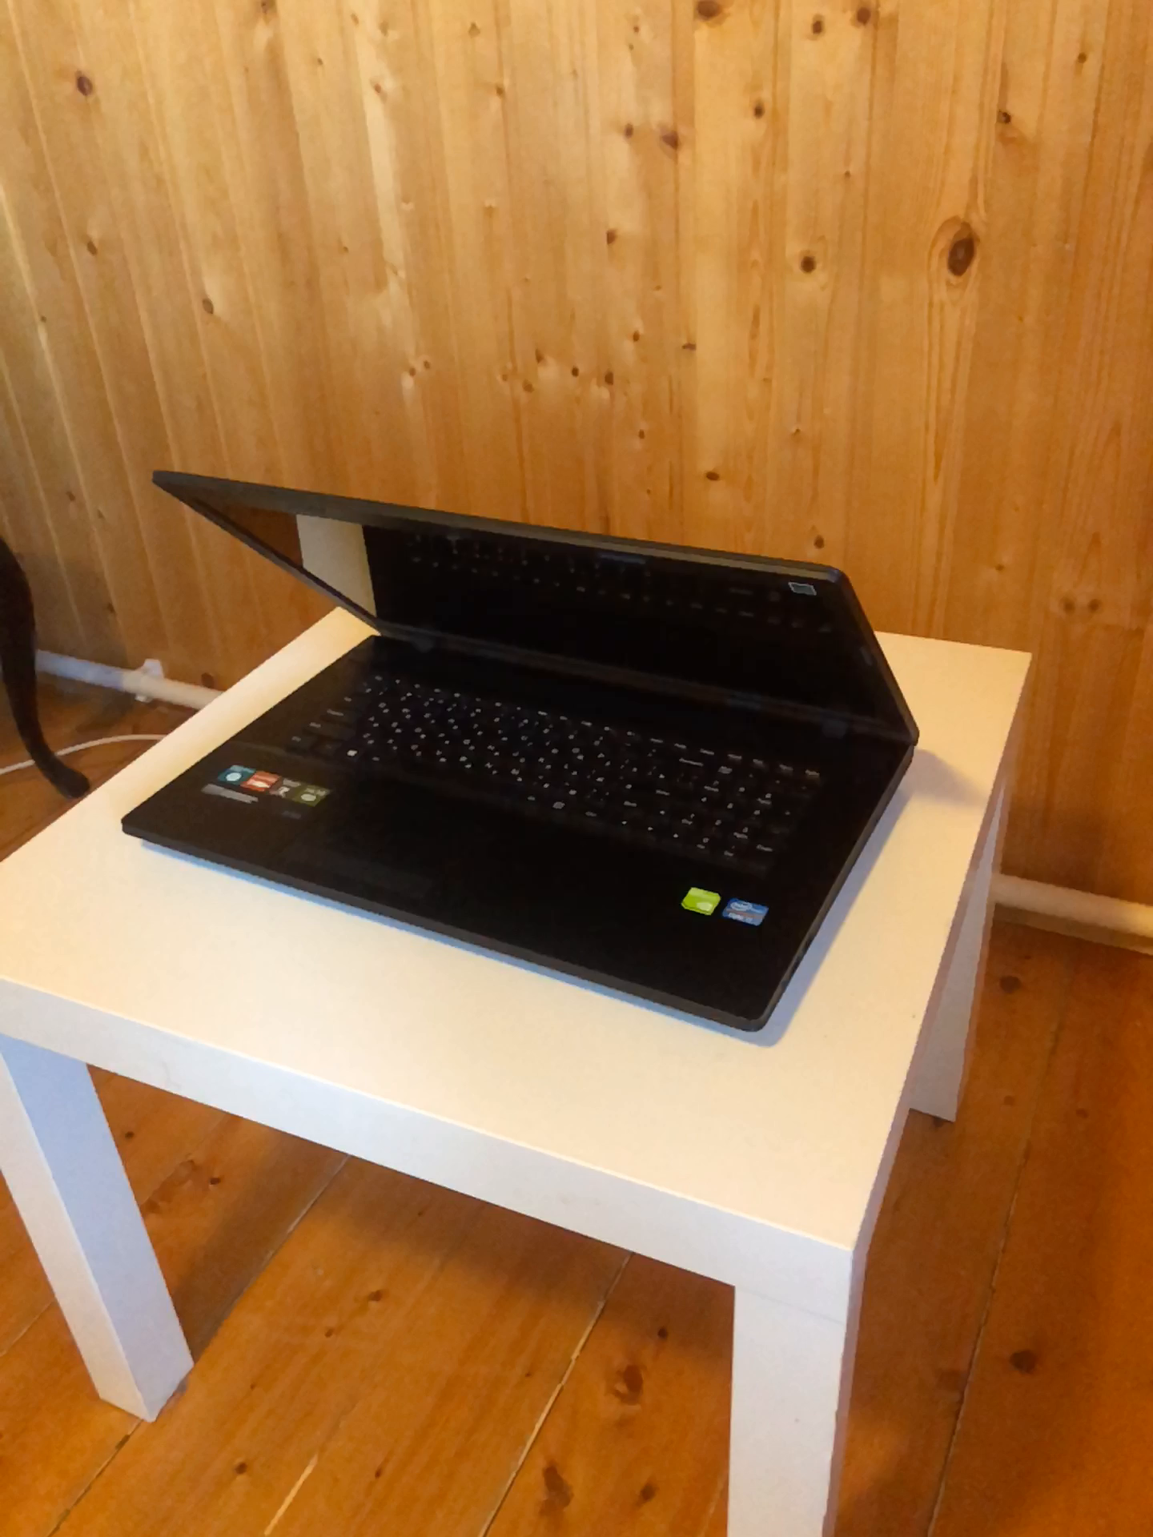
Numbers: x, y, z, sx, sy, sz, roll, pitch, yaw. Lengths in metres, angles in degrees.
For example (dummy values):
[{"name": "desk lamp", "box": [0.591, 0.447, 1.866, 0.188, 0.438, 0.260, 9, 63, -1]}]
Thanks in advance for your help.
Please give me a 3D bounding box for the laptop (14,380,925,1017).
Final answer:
[{"name": "laptop", "box": [-0.046, -0.070, 0.713, 0.401, 0.183, 0.252, 14, 37, 23]}]
